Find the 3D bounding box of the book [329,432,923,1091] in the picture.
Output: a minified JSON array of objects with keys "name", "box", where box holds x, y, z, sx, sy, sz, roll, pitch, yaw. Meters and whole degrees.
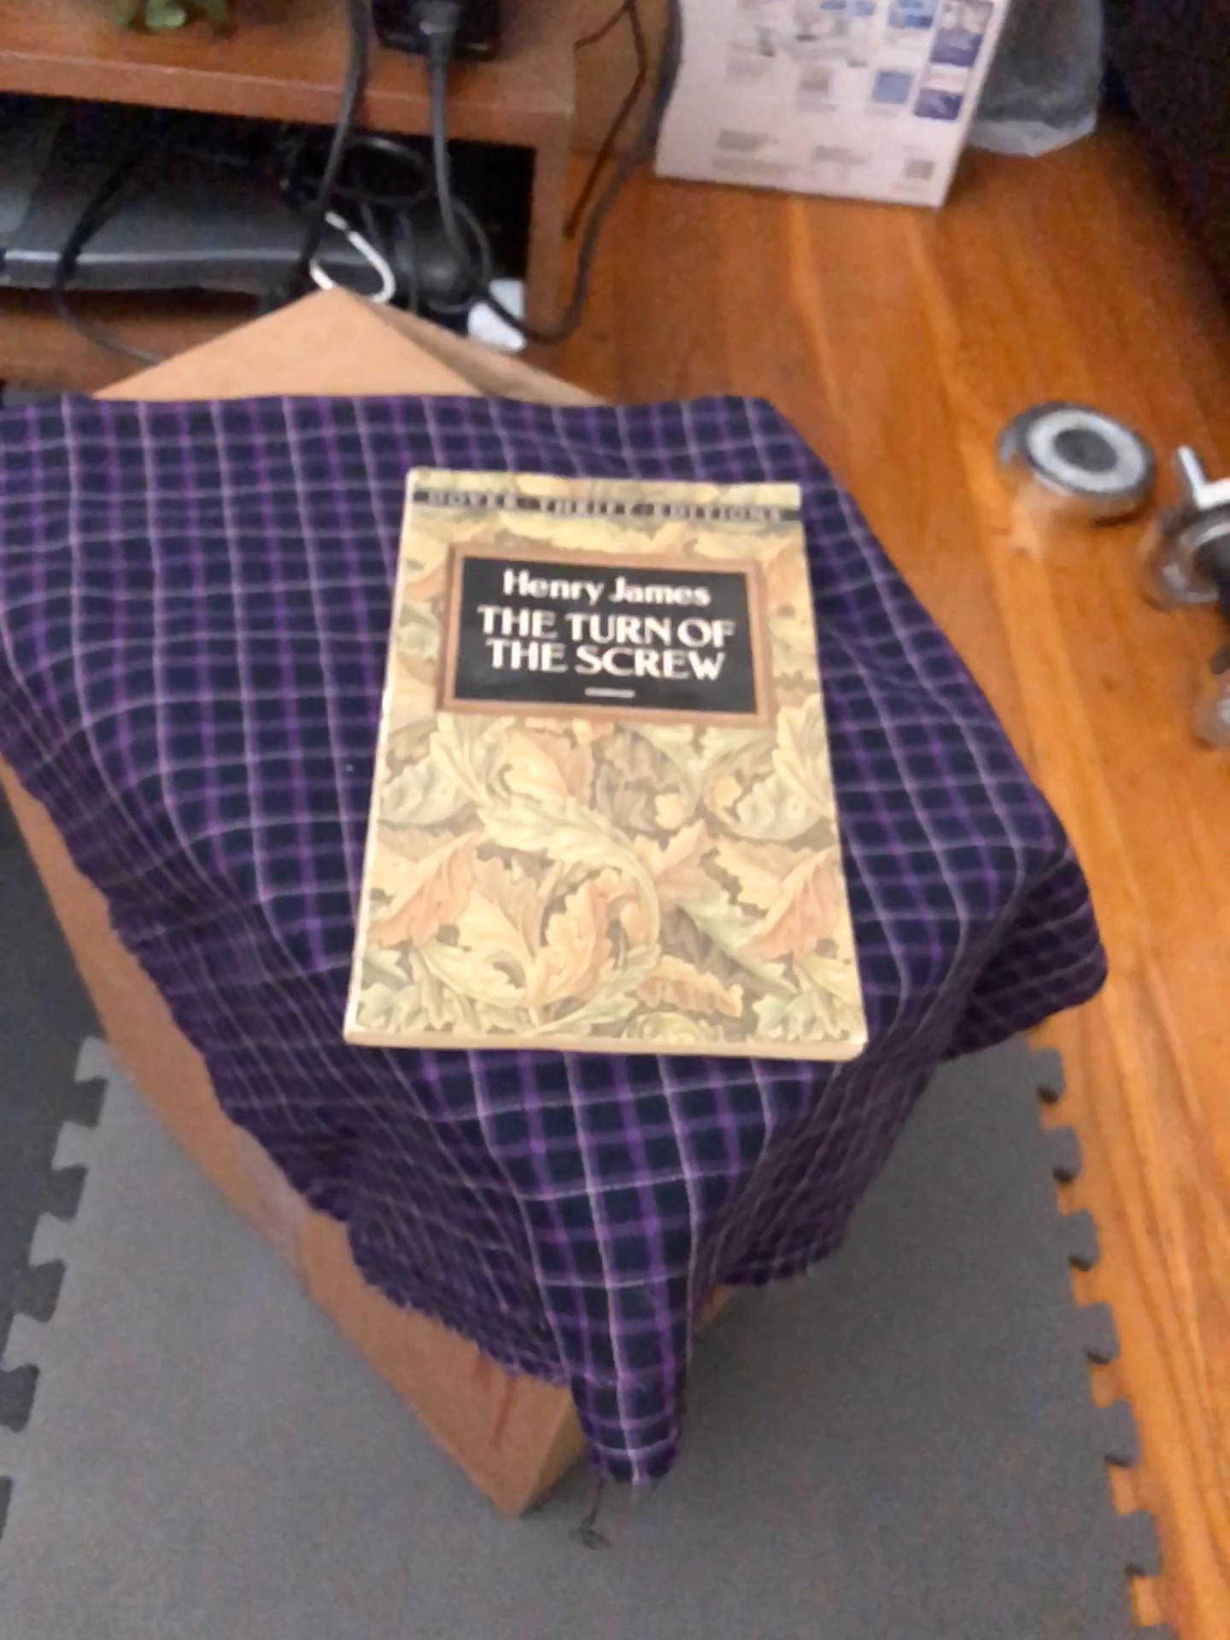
[{"name":"book","box":[0.001,-0.029,0.390,0.140,0.010,0.221,3,54,-6]}]
